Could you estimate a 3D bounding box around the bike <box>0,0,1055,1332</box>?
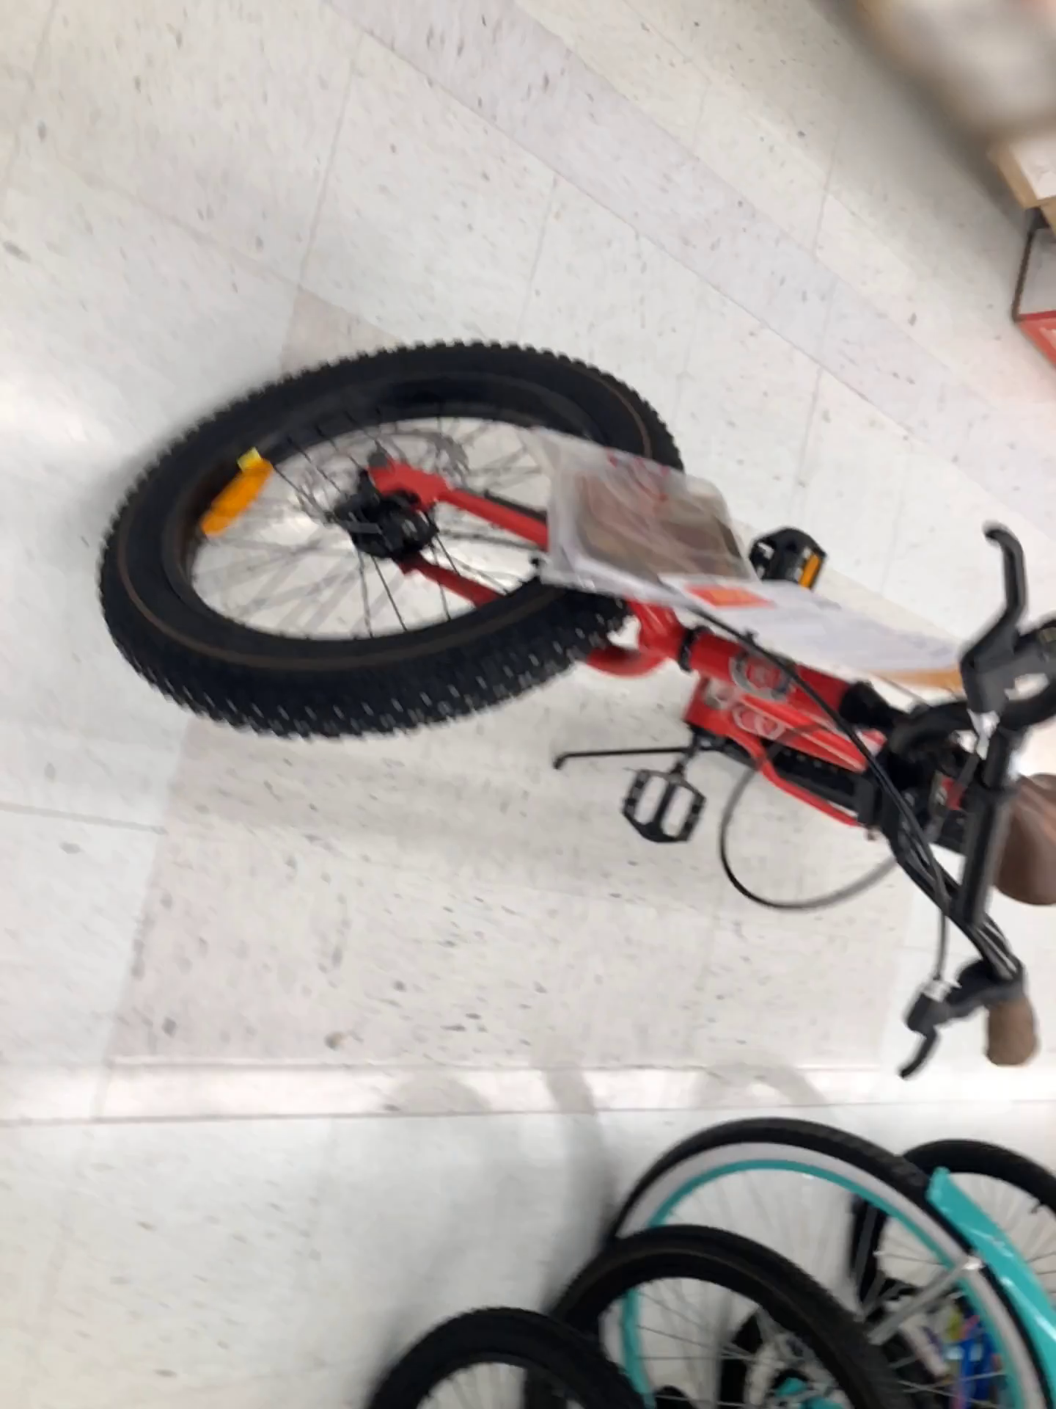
[{"bbox_3d":[0.298,0.073,1.267,1.364,0.968,0.607,16,85,-38],"label":"bike"}]
